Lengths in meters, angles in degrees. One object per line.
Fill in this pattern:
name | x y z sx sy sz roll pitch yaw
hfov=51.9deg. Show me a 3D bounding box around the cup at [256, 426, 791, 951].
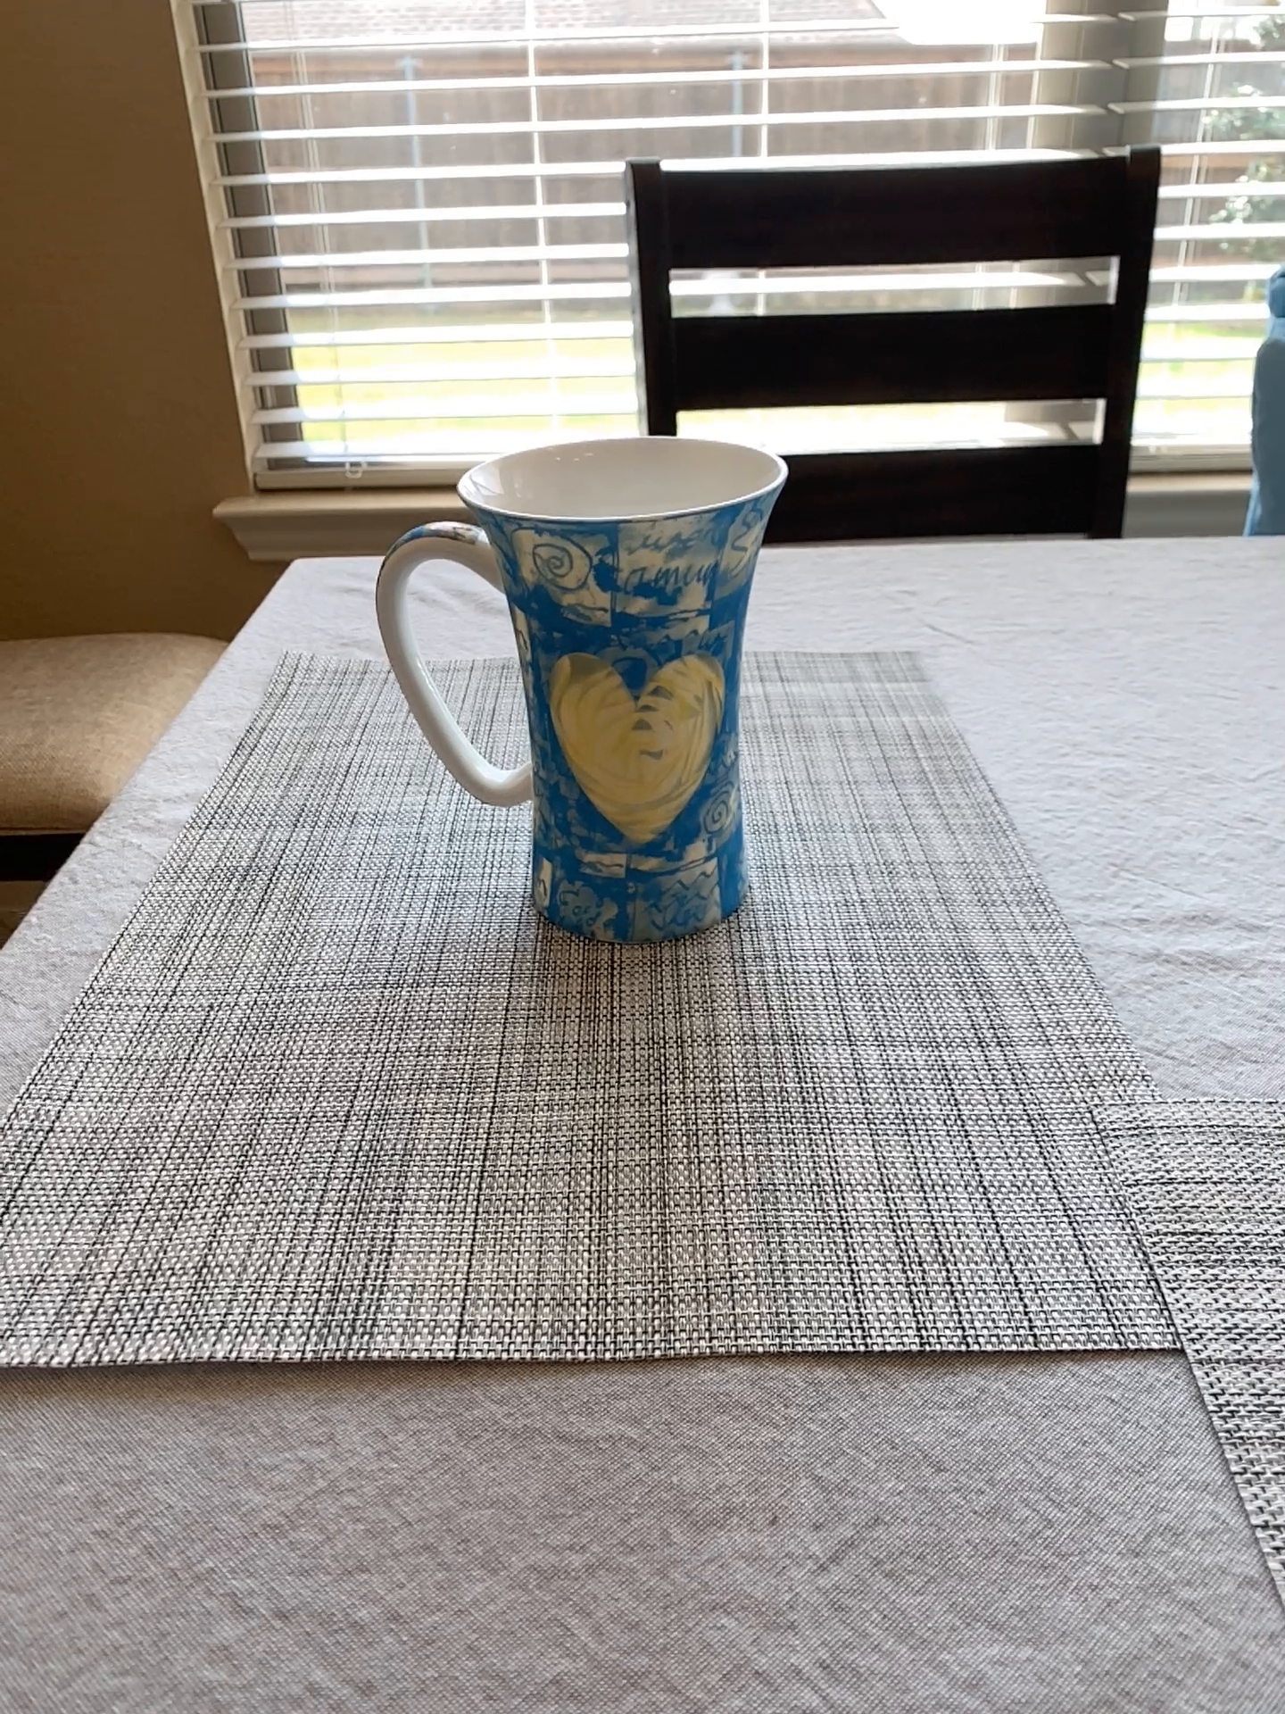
cup | -0.029 -0.059 0.452 0.152 0.148 0.100 1 29 4
